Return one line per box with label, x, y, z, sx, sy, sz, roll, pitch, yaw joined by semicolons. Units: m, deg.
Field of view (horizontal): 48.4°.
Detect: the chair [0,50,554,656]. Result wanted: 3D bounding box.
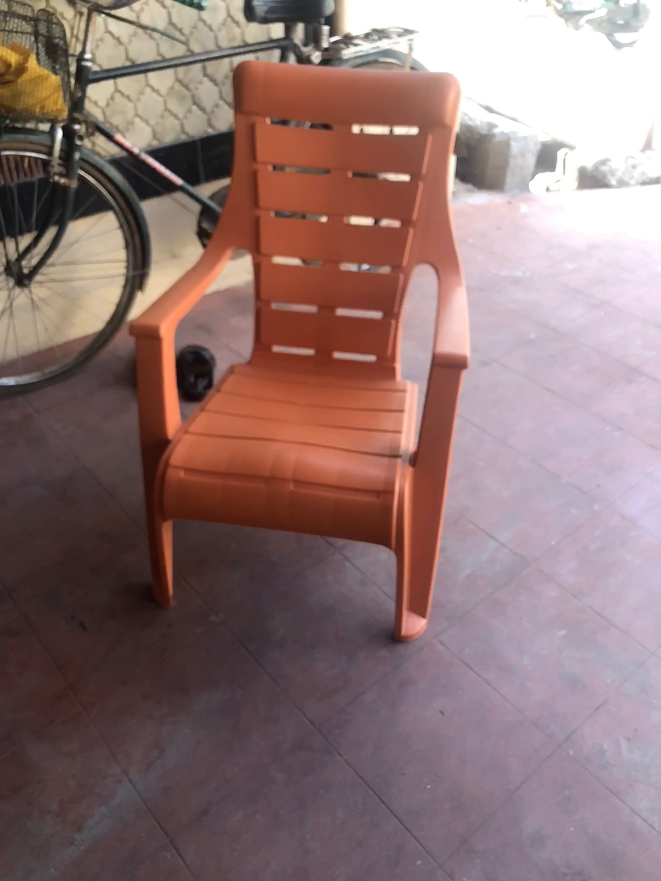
chair;-0.041;-0.201;1.375;0.690;0.786;0.764;6;39;7
